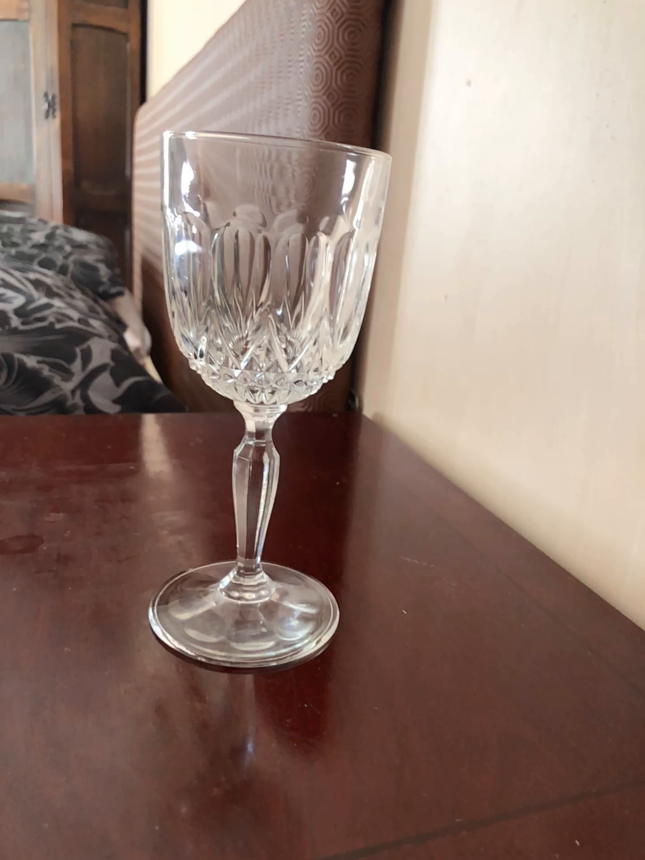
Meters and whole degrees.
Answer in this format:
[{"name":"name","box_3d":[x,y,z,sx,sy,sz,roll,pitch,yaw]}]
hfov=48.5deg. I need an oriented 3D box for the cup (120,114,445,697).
[{"name":"cup","box_3d":[-0.028,-0.012,0.269,0.092,0.179,0.096,5,16,-1]}]
